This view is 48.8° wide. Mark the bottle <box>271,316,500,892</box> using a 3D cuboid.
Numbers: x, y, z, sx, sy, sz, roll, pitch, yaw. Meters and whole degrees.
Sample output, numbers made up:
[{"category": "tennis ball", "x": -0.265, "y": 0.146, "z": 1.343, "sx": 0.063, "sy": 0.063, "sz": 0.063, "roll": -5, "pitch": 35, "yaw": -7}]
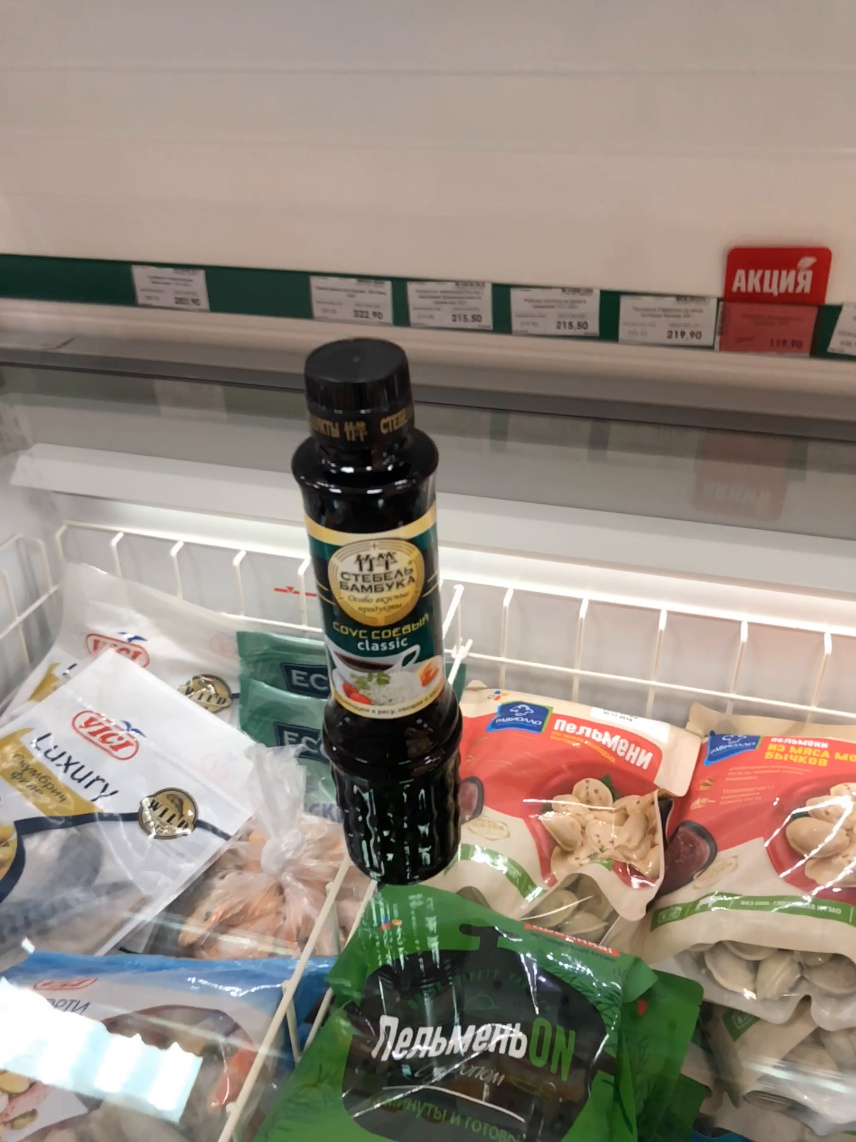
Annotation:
[{"category": "bottle", "x": -0.010, "y": 0.022, "z": 0.317, "sx": 0.058, "sy": 0.199, "sz": 0.054, "roll": -1, "pitch": 35, "yaw": 0}]
